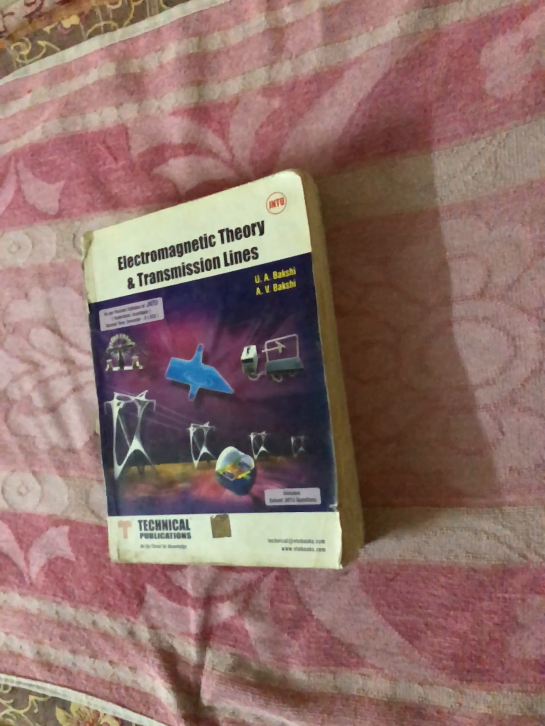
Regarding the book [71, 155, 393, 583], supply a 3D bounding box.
[{"bbox_3d":[-0.037,0.014,0.425,0.201,0.060,0.250,-8,85,28],"label":"book"}]
